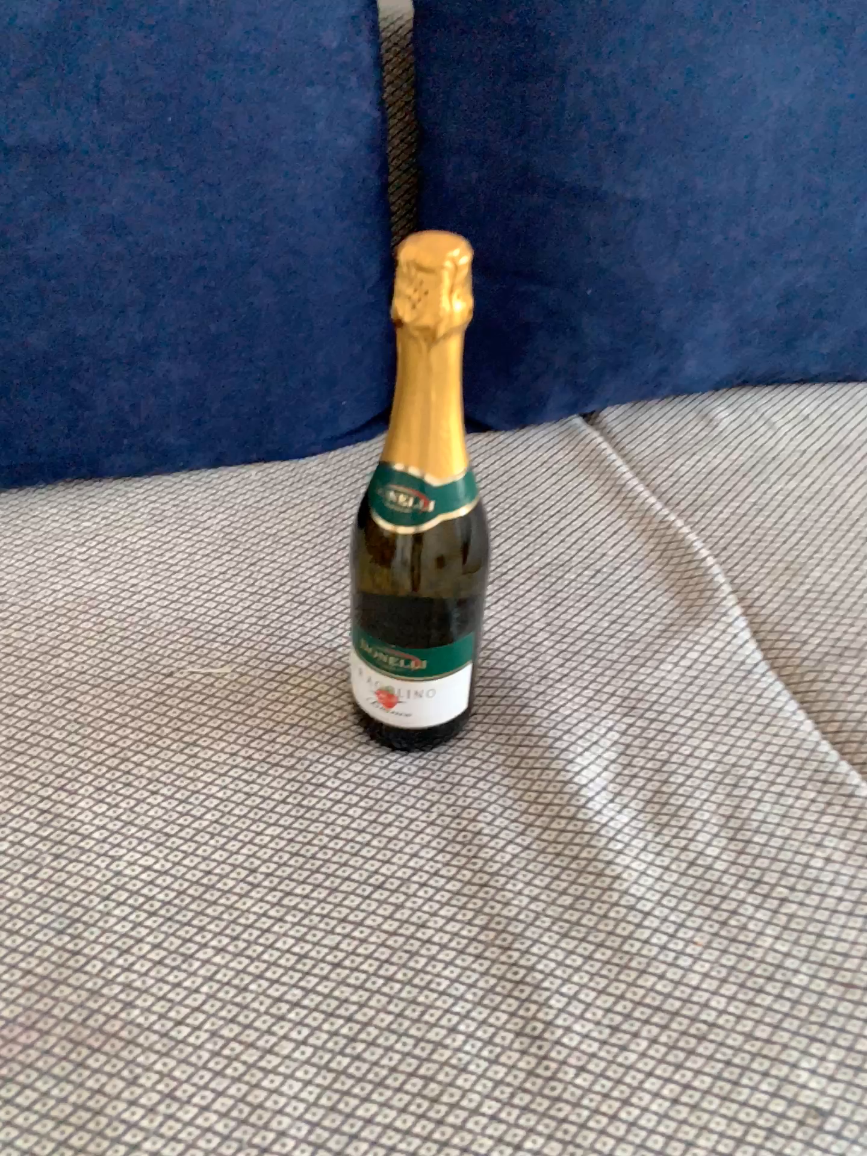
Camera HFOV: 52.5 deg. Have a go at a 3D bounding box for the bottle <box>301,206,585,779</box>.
[{"bbox_3d":[0.003,-0.029,0.470,0.090,0.289,0.090,1,42,-1],"label":"bottle"}]
